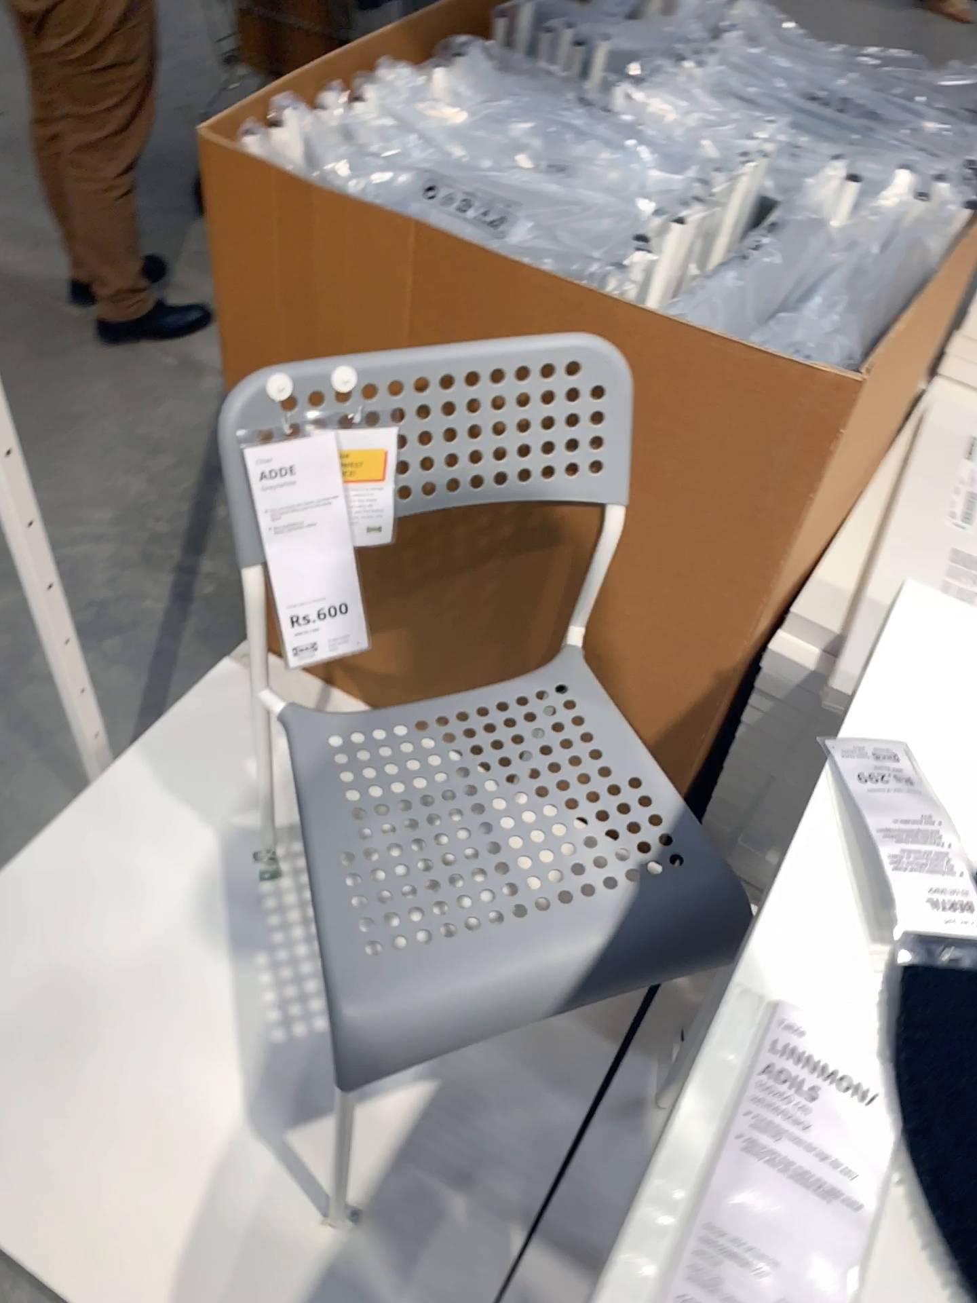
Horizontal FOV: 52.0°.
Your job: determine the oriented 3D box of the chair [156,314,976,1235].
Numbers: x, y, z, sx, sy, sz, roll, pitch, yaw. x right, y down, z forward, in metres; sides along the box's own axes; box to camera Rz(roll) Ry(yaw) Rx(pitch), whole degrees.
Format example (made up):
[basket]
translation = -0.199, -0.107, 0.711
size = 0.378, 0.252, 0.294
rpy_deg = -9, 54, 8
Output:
[chair]
translation = -0.003, 0.136, 0.975
size = 0.460, 0.688, 0.501
rpy_deg = -11, 51, -17
